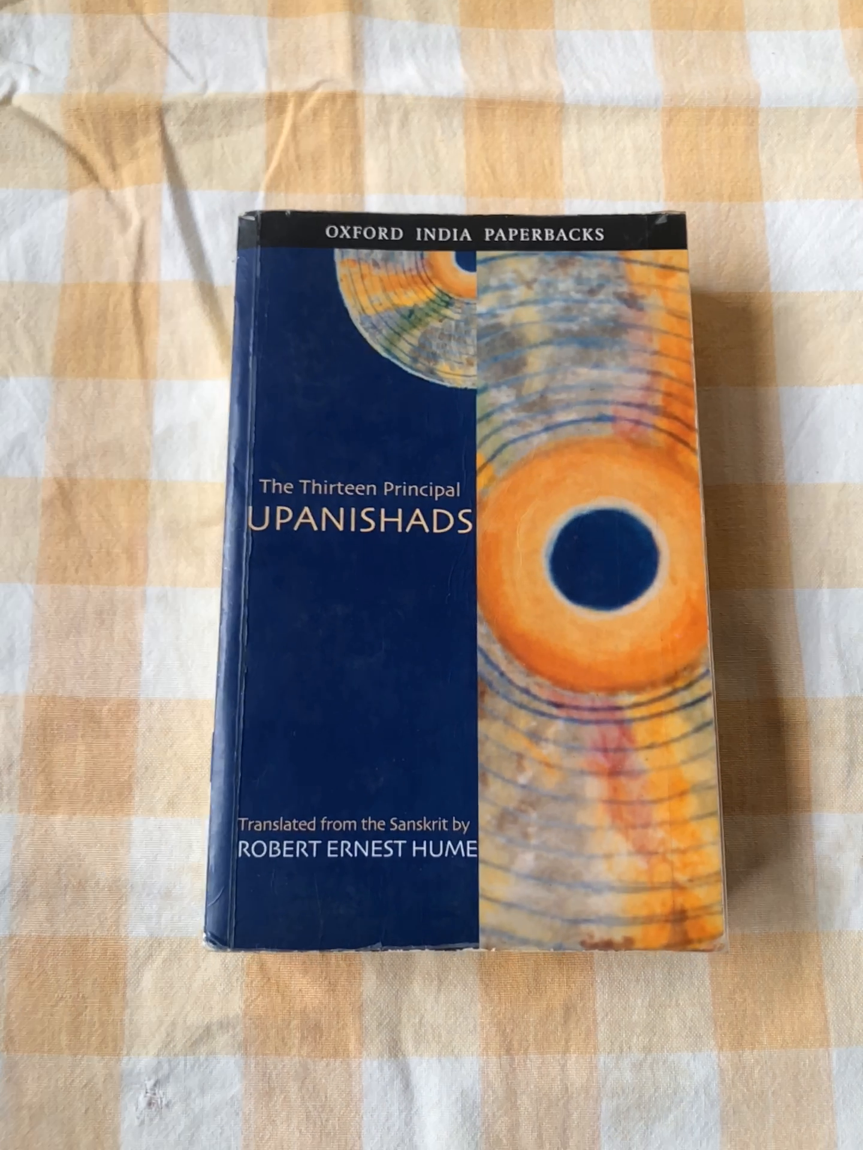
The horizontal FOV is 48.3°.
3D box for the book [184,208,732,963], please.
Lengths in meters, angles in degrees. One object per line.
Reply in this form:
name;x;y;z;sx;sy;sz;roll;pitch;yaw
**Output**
book;0.007;-0.001;0.285;0.140;0.040;0.210;0;79;-2
